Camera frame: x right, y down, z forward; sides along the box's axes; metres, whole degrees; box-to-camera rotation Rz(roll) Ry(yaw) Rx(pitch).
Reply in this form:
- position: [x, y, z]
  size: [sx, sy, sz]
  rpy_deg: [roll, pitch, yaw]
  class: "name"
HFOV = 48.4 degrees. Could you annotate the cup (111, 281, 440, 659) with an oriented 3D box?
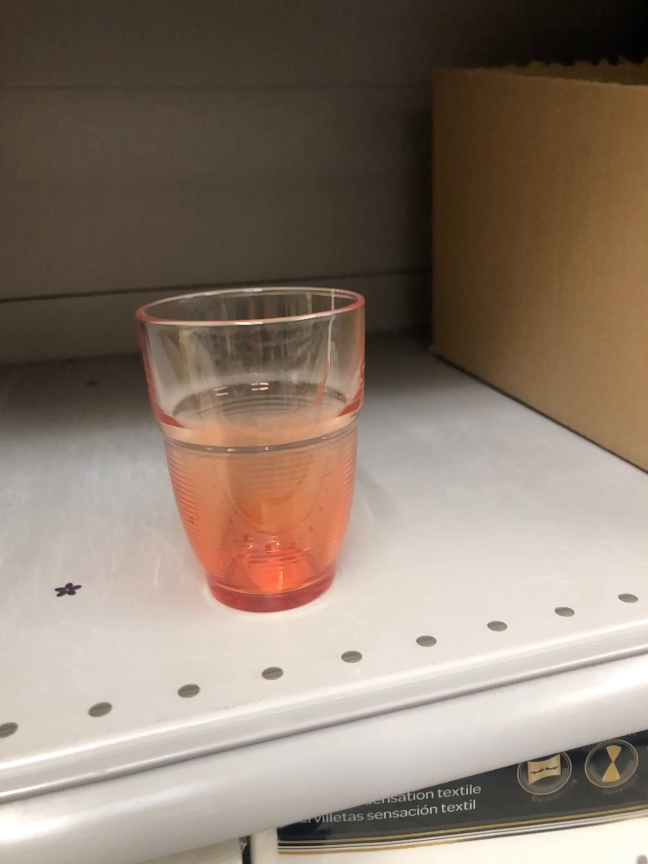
- position: [-0.015, 0.003, 0.253]
  size: [0.080, 0.100, 0.074]
  rpy_deg: [-1, 17, 0]
  class: "cup"
